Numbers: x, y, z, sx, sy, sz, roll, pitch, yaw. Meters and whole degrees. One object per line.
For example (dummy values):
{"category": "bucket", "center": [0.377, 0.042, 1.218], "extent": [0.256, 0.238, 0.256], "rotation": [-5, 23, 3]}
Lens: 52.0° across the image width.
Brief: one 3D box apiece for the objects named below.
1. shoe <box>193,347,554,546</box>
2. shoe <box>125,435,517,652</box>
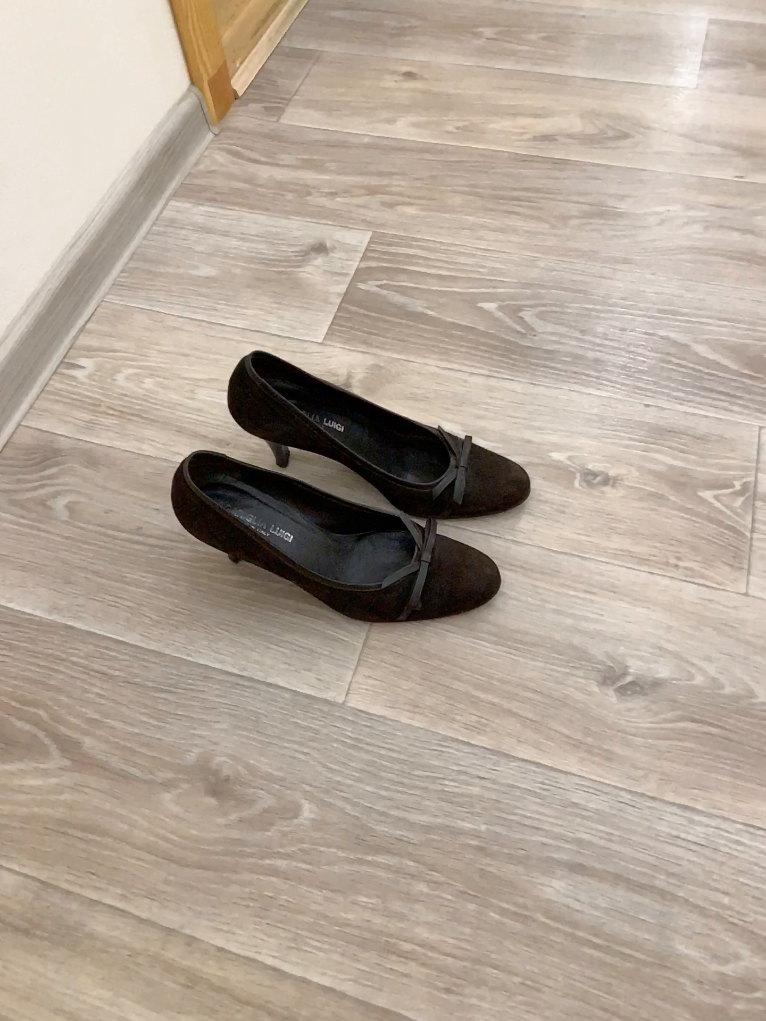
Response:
{"category": "shoe", "center": [-0.003, -0.051, 0.634], "extent": [0.260, 0.110, 0.080], "rotation": [8, 59, 9]}
{"category": "shoe", "center": [-0.040, 0.025, 0.588], "extent": [0.260, 0.110, 0.080], "rotation": [8, 59, 10]}
